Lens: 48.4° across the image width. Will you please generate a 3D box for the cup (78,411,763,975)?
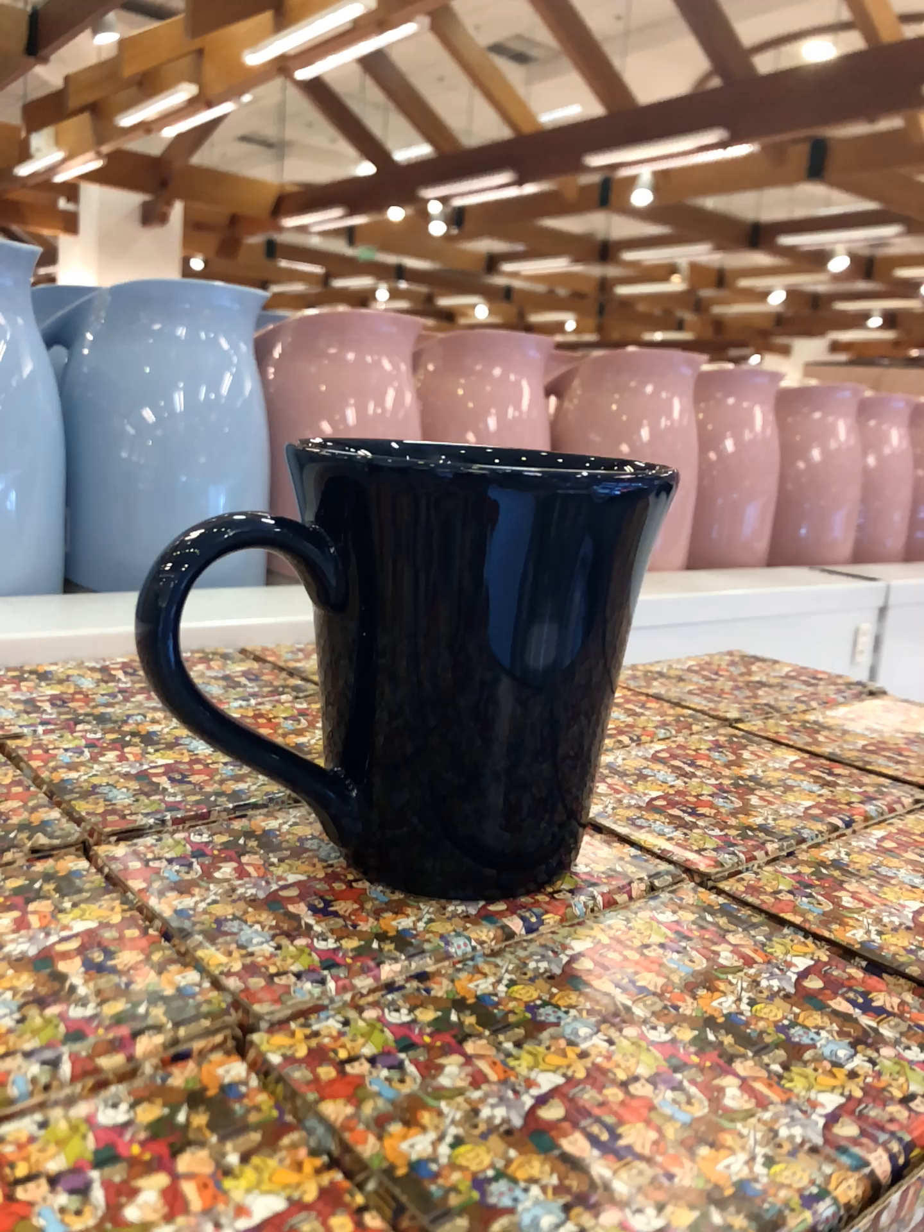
[{"bbox_3d":[-0.011,0.003,0.244,0.120,0.090,0.100,-5,14,-41],"label":"cup"}]
